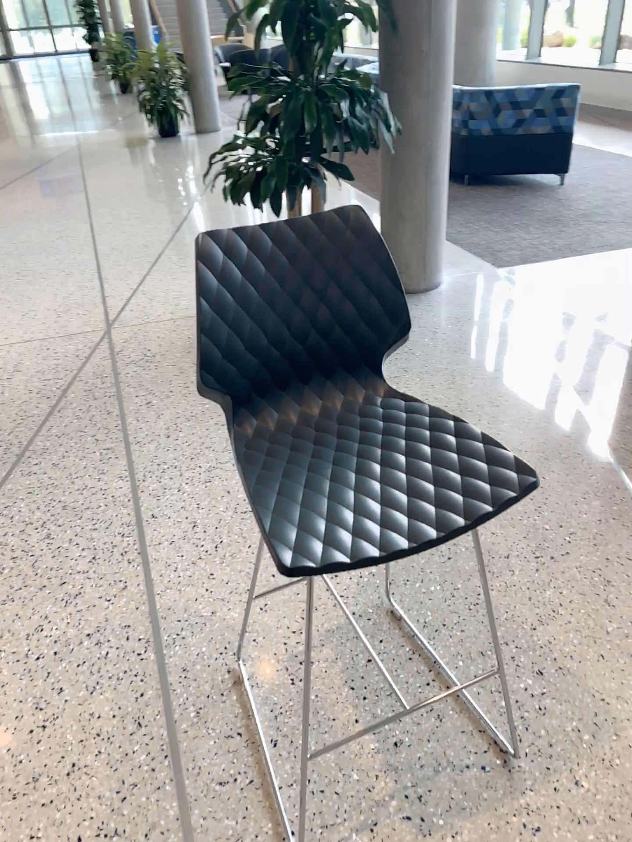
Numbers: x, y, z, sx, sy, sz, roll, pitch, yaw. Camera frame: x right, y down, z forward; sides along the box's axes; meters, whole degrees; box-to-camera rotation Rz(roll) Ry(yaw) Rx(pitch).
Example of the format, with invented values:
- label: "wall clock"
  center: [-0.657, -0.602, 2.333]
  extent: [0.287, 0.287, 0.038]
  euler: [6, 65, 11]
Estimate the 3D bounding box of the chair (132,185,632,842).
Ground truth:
- label: "chair"
  center: [0.081, 0.206, 1.171]
  extent: [0.532, 1.048, 0.550]
  euler: [-14, 33, -16]
